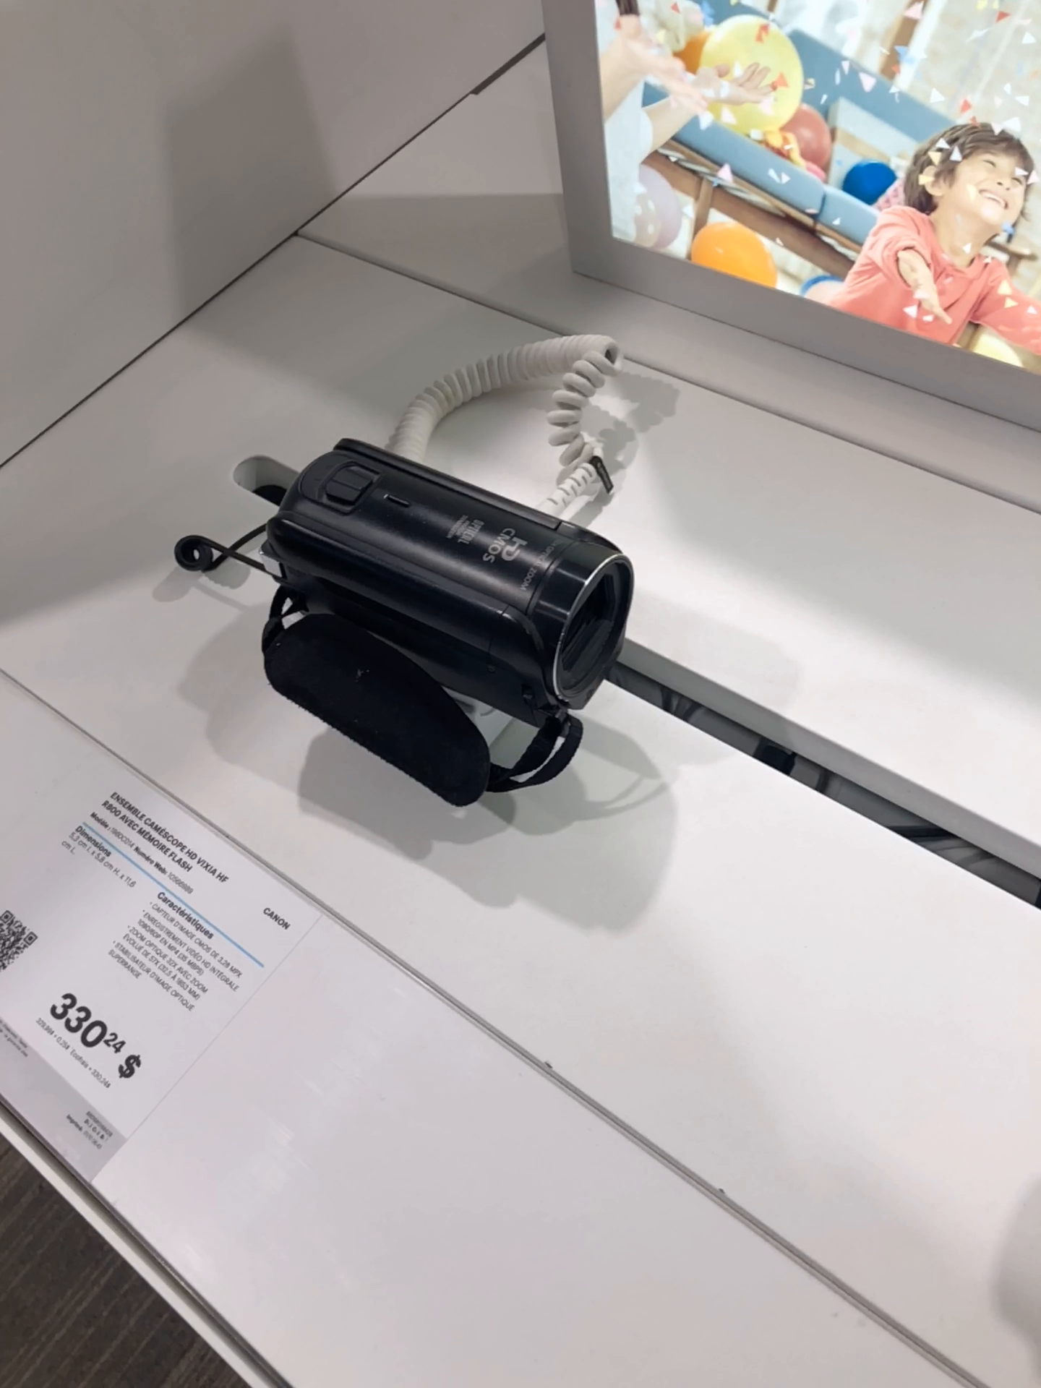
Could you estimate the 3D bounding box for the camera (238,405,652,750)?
[{"bbox_3d":[-0.022,-0.038,0.355,0.113,0.050,0.050,26,62,25],"label":"camera"}]
